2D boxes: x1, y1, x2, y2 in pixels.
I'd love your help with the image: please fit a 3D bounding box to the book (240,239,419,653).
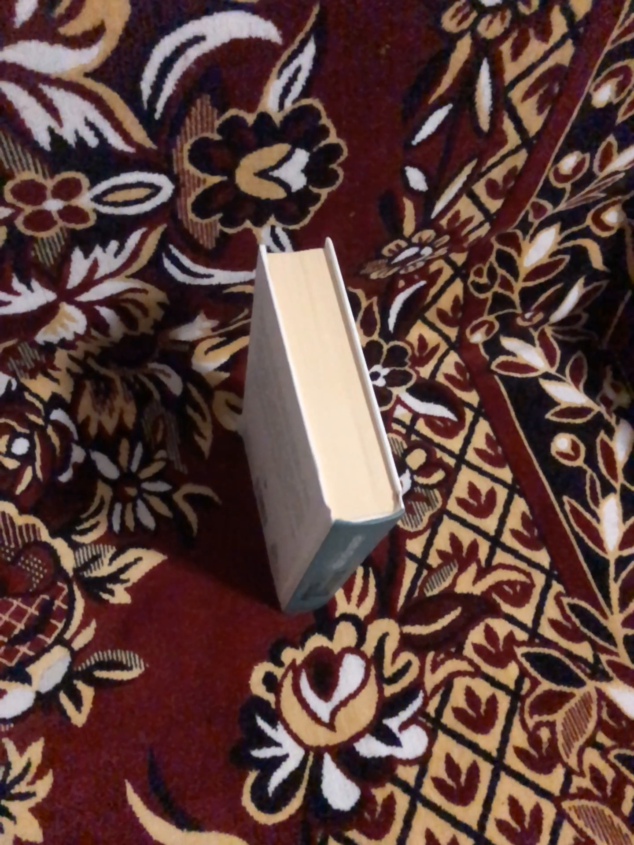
[{"bbox_3d":[-0.009,0.031,0.388,0.040,0.212,0.153,-8,65,-11],"label":"book"}]
